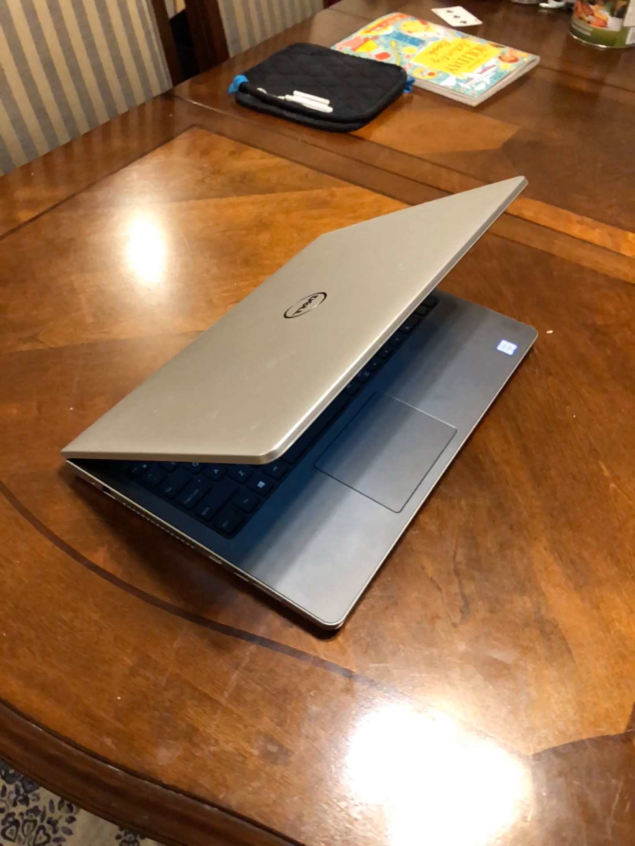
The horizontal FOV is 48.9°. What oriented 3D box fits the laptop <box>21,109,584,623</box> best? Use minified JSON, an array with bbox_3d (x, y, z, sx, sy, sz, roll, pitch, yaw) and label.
[{"bbox_3d":[0.010,-0.078,0.562,0.245,0.147,0.365,28,53,20],"label":"laptop"}]
